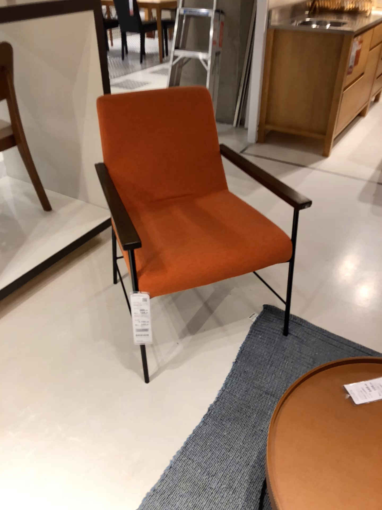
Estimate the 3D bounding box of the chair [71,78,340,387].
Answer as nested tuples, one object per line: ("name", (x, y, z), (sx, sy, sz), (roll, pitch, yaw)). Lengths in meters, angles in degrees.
("chair", (-0.001, -0.135, 1.603), (0.651, 0.824, 0.704), (-14, 37, -18))
